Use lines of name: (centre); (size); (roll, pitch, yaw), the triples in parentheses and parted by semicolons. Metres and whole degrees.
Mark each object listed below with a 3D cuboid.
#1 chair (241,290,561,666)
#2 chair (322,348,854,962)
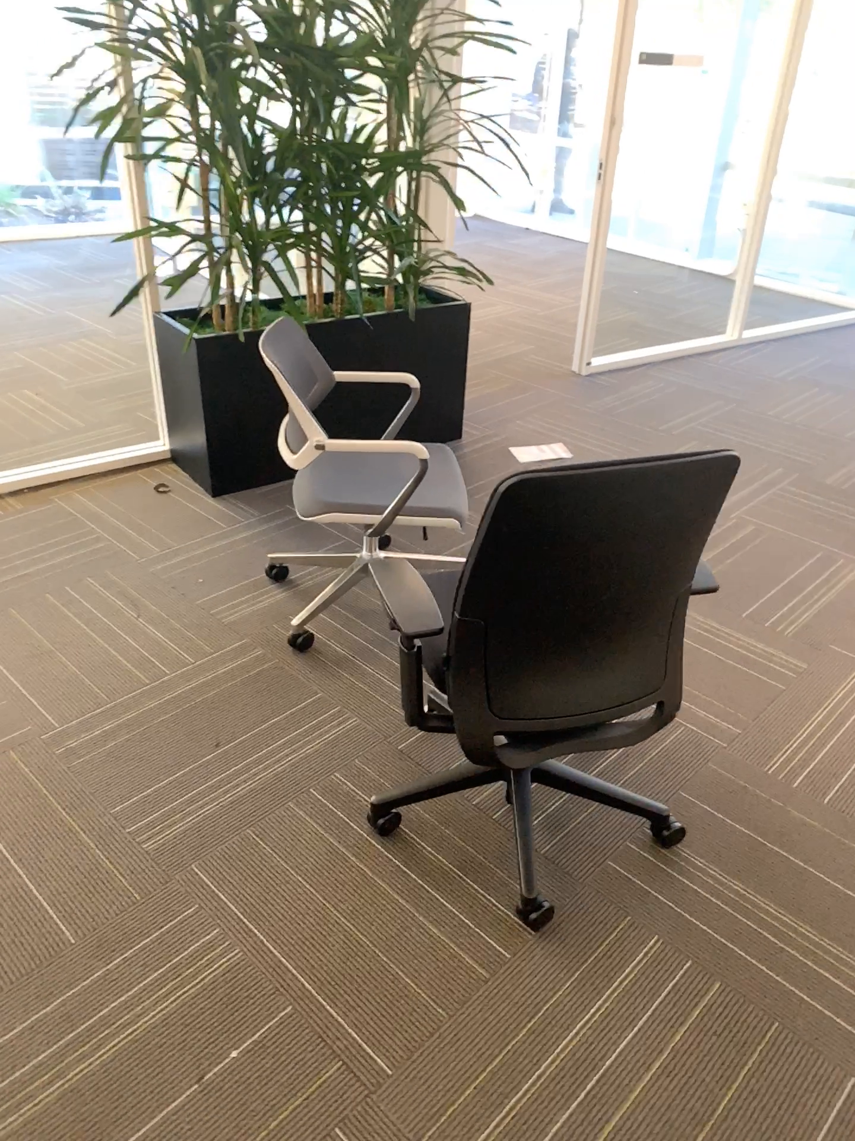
chair: (-0.121, -0.312, 2.564); (0.740, 0.795, 0.845); (-2, 31, -7)
chair: (0.238, 0.110, 1.779); (0.770, 0.884, 0.745); (-6, 31, -14)
